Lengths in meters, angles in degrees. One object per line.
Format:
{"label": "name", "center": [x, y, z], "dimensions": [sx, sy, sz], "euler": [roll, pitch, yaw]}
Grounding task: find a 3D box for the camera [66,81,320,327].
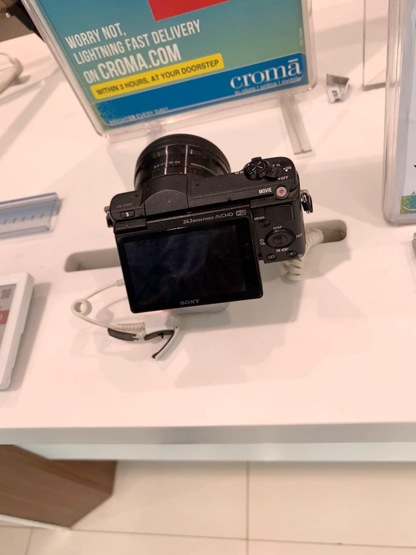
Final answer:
{"label": "camera", "center": [-0.001, -0.036, 0.245], "dimensions": [0.110, 0.082, 0.088], "euler": [-8, 54, 12]}
